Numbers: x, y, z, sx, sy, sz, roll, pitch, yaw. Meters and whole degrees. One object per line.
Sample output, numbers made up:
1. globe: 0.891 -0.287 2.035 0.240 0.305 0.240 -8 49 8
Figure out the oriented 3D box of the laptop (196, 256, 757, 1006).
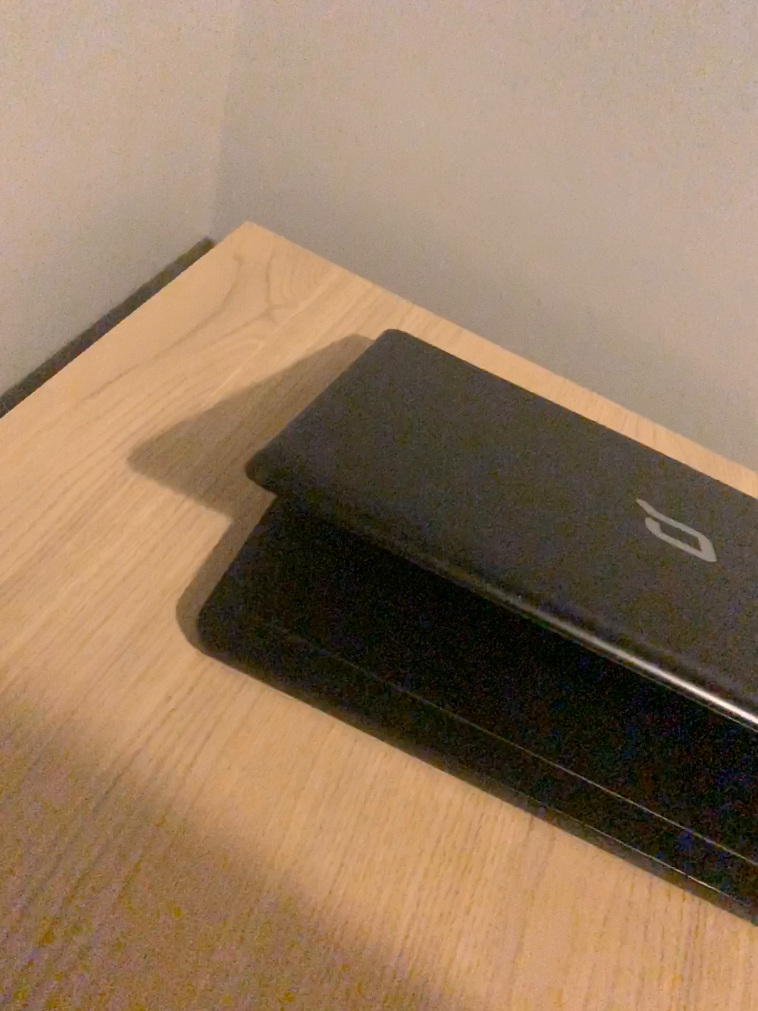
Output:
1. laptop: 0.137 0.036 0.386 0.373 0.064 0.225 26 50 2
